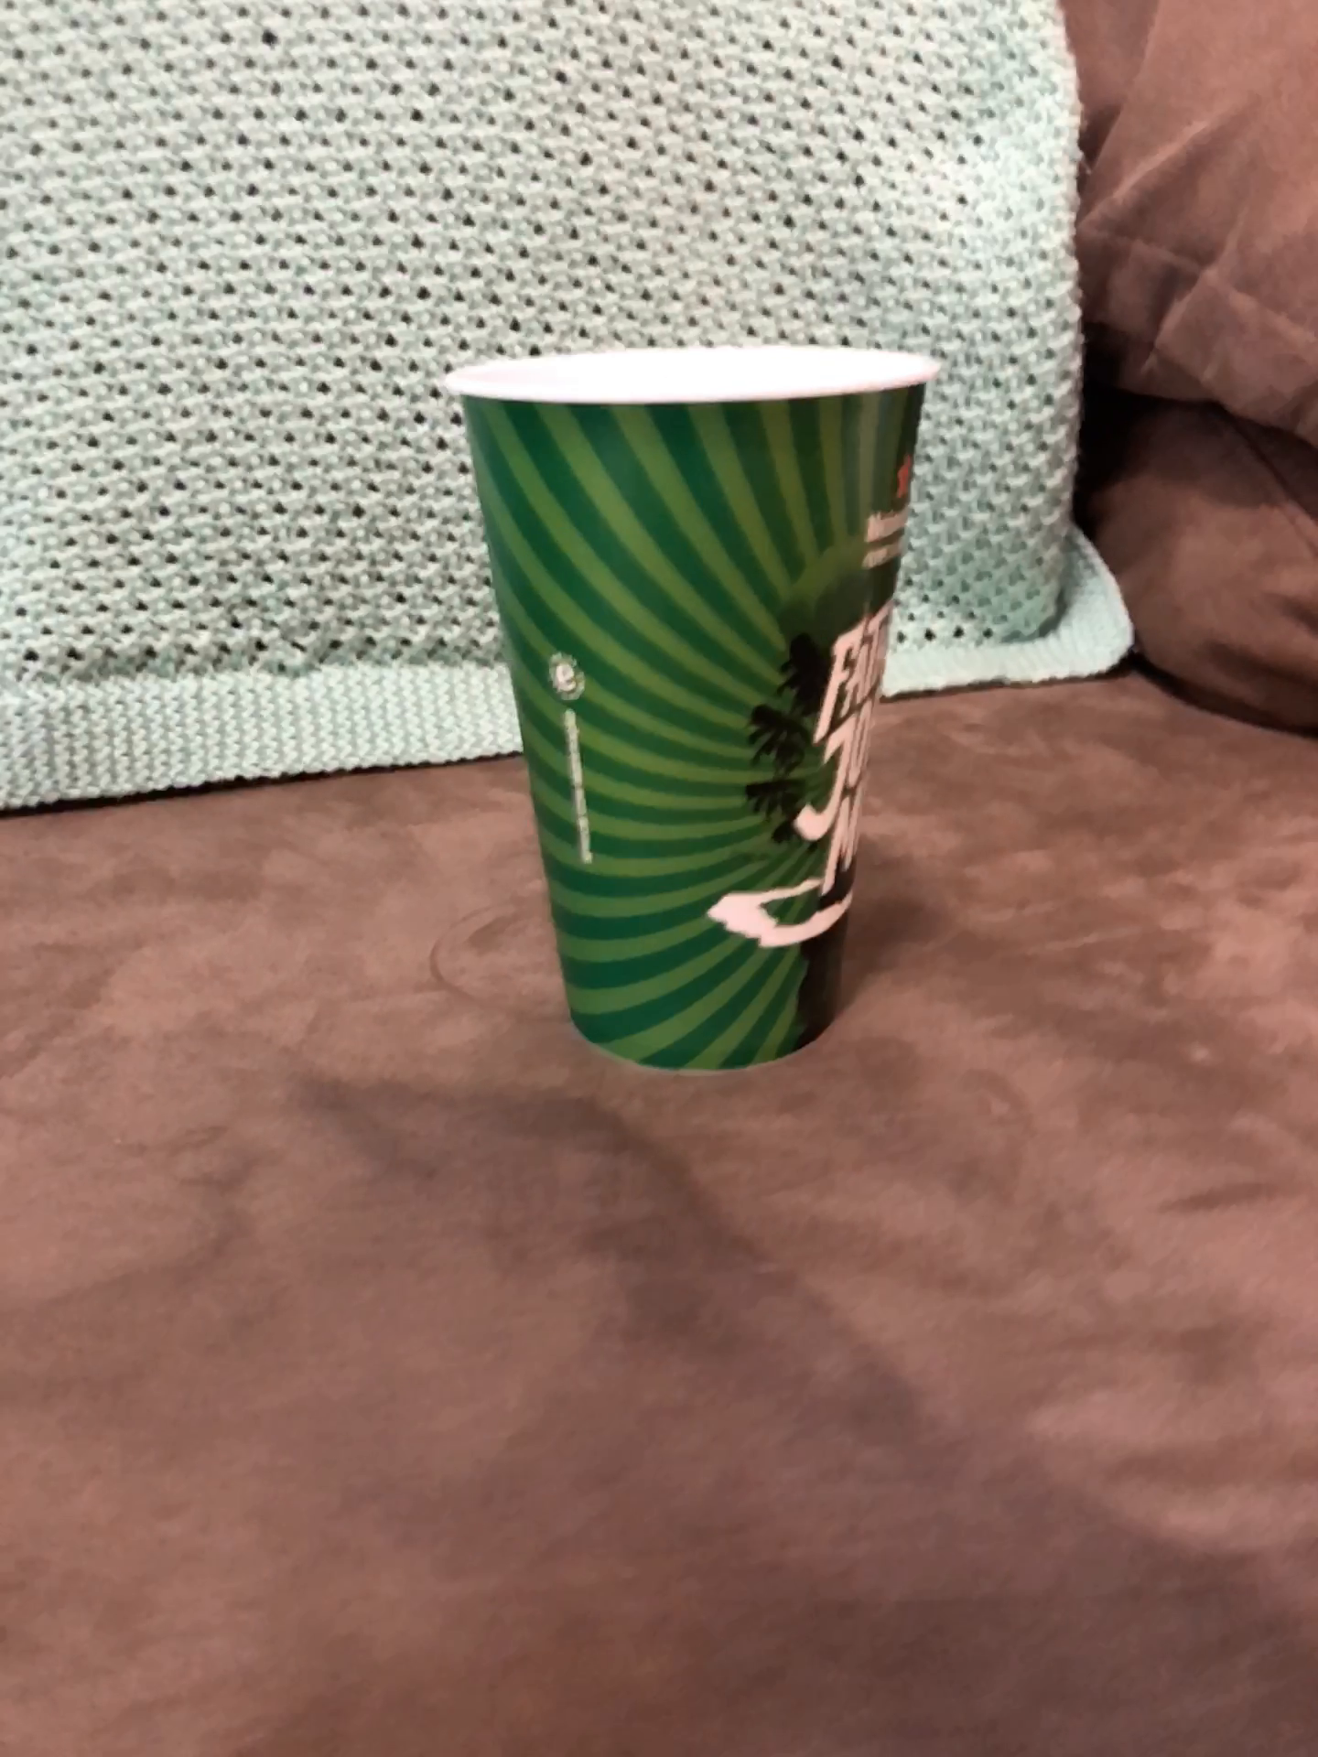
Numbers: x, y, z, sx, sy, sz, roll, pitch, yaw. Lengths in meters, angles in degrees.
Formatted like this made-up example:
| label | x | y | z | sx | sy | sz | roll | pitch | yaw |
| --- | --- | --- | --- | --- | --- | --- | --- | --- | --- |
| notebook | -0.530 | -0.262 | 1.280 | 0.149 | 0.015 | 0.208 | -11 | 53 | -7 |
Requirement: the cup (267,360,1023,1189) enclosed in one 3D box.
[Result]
| label | x | y | z | sx | sy | sz | roll | pitch | yaw |
| --- | --- | --- | --- | --- | --- | --- | --- | --- | --- |
| cup | 0.002 | -0.033 | 0.294 | 0.100 | 0.129 | 0.100 | -2 | 22 | 1 |
